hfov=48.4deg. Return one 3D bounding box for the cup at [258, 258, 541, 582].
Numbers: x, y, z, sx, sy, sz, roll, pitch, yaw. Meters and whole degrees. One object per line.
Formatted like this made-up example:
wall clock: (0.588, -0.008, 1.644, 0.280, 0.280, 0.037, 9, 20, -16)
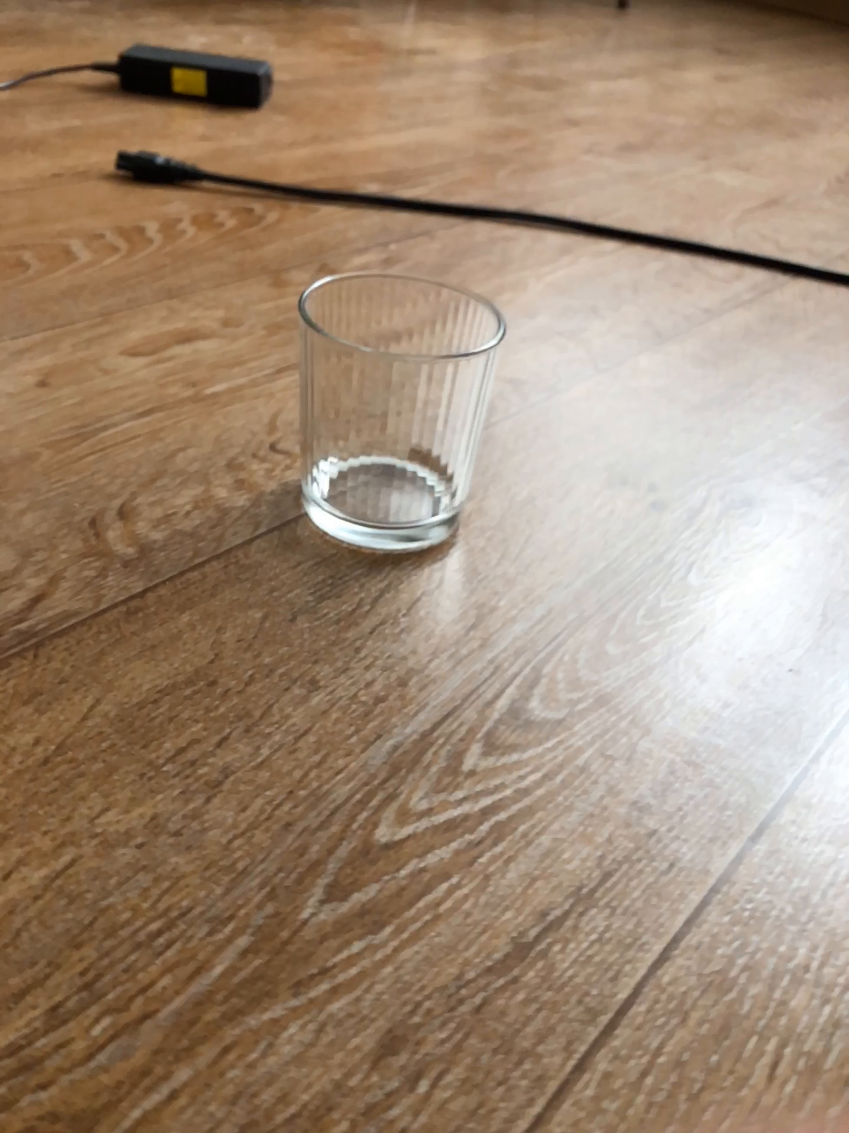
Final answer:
cup: (-0.010, -0.058, 0.358, 0.078, 0.079, 0.076, 5, 37, -4)
